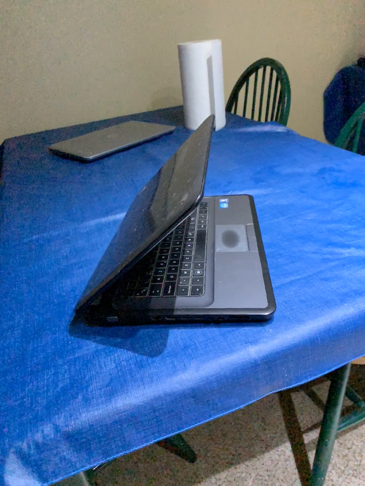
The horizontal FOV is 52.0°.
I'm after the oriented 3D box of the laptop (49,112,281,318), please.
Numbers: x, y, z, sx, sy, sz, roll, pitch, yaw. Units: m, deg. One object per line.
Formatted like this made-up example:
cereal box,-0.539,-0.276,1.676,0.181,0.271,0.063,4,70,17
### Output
laptop,-0.001,-0.072,0.580,0.243,0.160,0.364,-4,30,7
